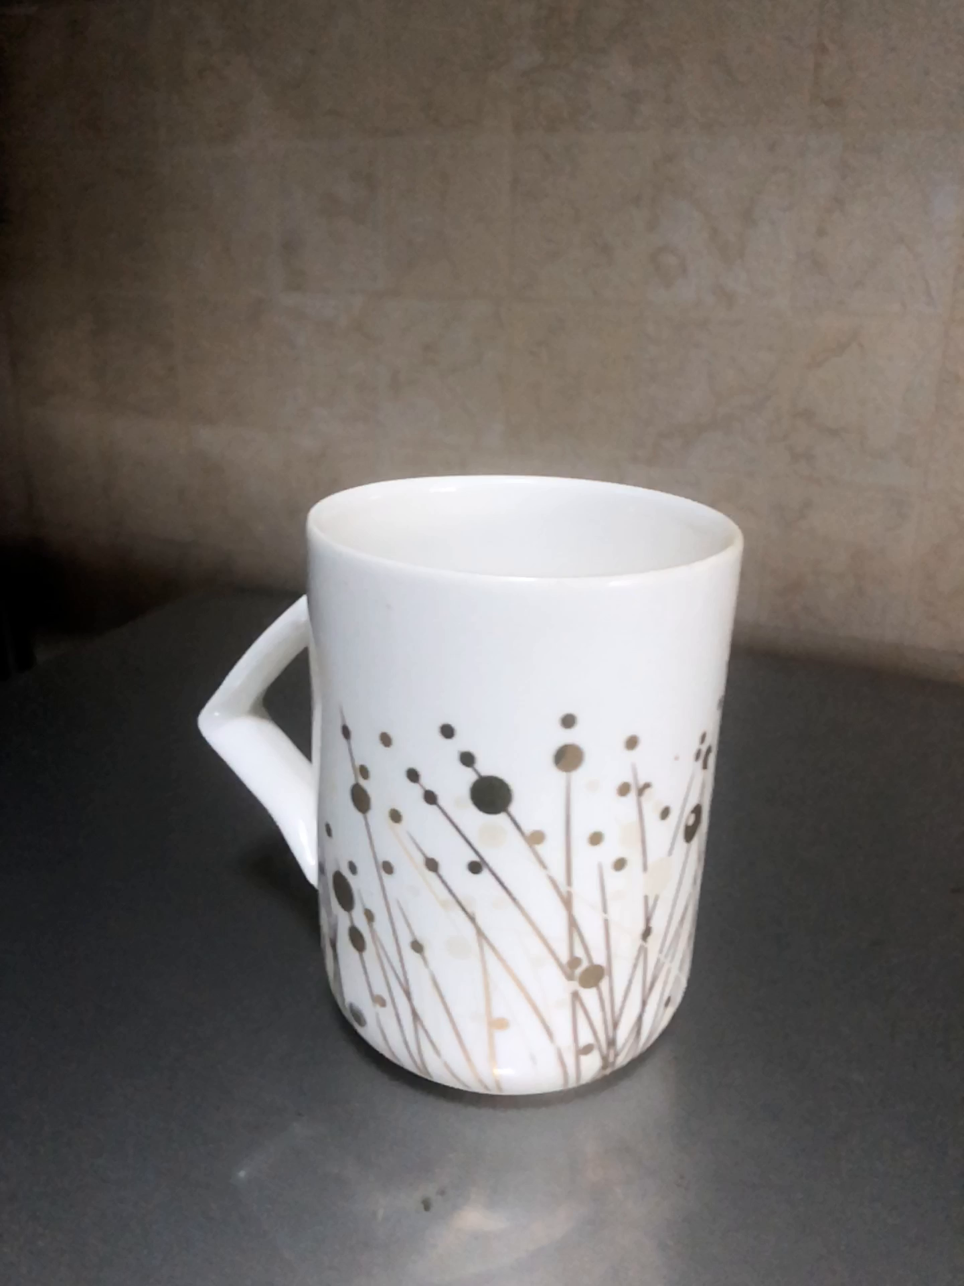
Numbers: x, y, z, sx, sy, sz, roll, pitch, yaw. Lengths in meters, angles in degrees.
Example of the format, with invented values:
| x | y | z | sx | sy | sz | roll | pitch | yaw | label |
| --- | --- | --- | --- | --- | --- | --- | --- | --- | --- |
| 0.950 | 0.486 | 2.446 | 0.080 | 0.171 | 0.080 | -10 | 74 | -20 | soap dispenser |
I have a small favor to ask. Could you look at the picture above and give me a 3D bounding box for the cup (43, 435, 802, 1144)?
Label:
| x | y | z | sx | sy | sz | roll | pitch | yaw | label |
| --- | --- | --- | --- | --- | --- | --- | --- | --- | --- |
| -0.006 | 0.019 | 0.207 | 0.110 | 0.099 | 0.080 | 4 | 19 | 7 | cup |
